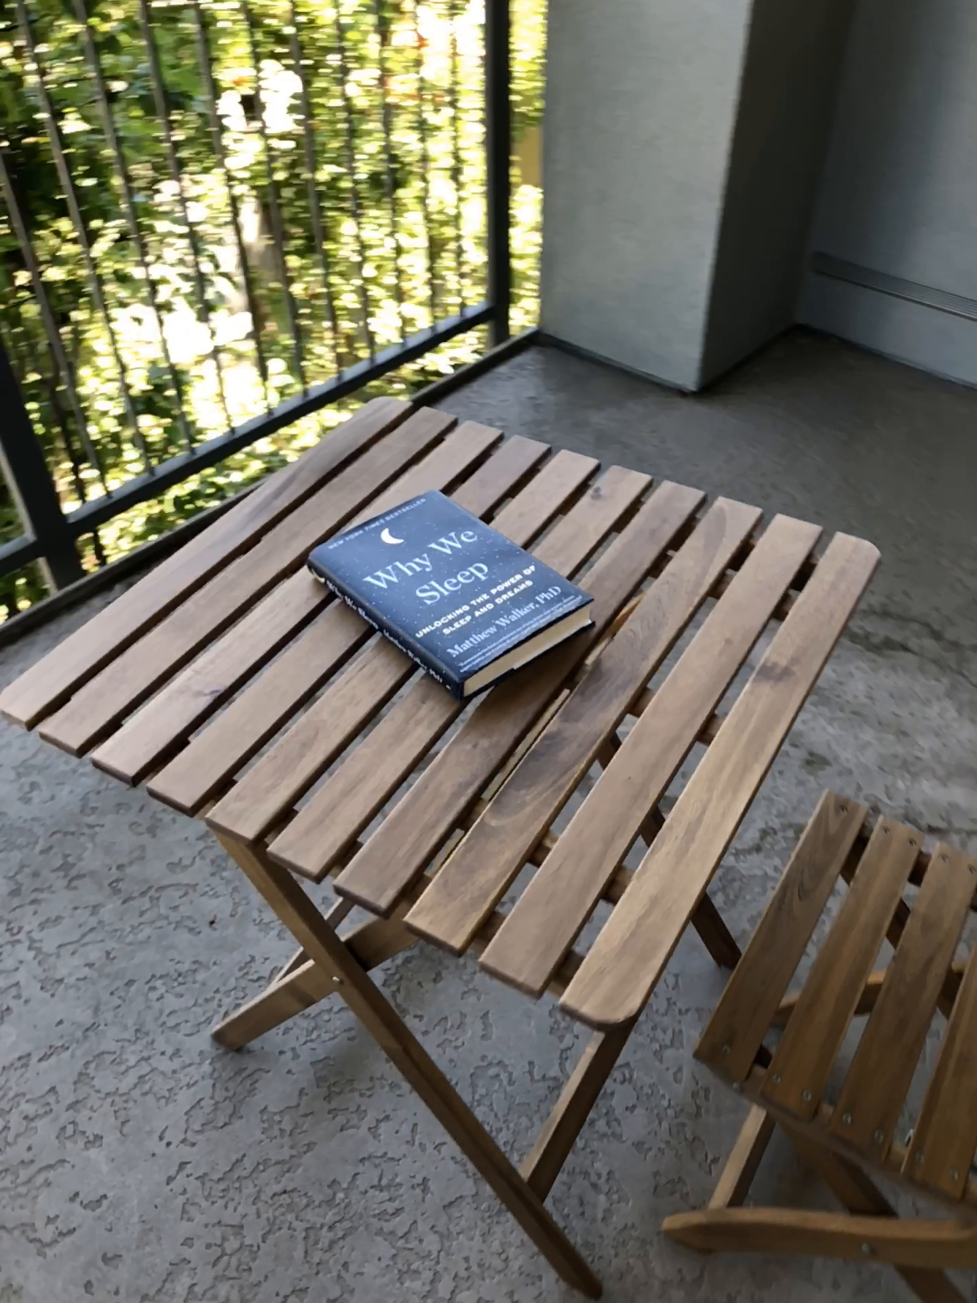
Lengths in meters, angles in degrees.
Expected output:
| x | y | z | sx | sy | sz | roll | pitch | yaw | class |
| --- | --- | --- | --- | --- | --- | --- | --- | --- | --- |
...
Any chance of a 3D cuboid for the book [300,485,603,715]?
| x | y | z | sx | sy | sz | roll | pitch | yaw | class |
| --- | --- | --- | --- | --- | --- | --- | --- | --- | --- |
| -0.038 | -0.058 | 0.998 | 0.170 | 0.029 | 0.235 | -30 | 51 | -27 | book |
